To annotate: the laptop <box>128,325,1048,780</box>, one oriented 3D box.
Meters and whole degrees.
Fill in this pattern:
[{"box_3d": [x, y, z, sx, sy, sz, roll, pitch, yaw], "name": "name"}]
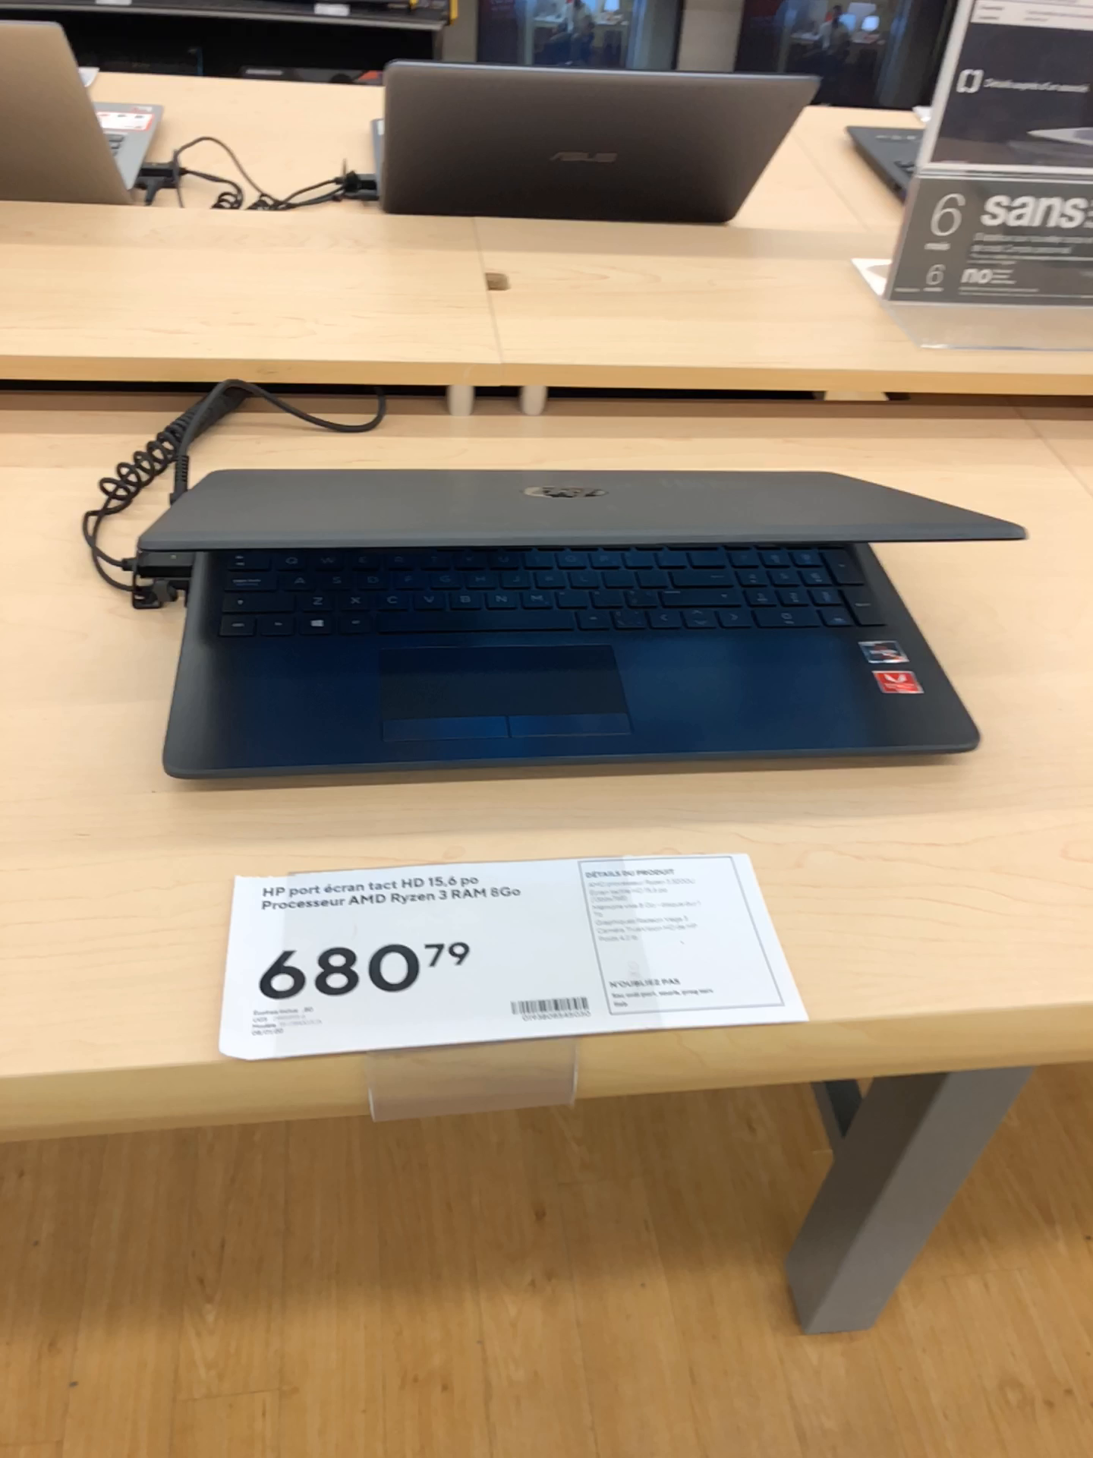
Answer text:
[{"box_3d": [0.011, -0.100, 0.588, 0.366, 0.090, 0.243, -2, 42, -10], "name": "laptop"}]
